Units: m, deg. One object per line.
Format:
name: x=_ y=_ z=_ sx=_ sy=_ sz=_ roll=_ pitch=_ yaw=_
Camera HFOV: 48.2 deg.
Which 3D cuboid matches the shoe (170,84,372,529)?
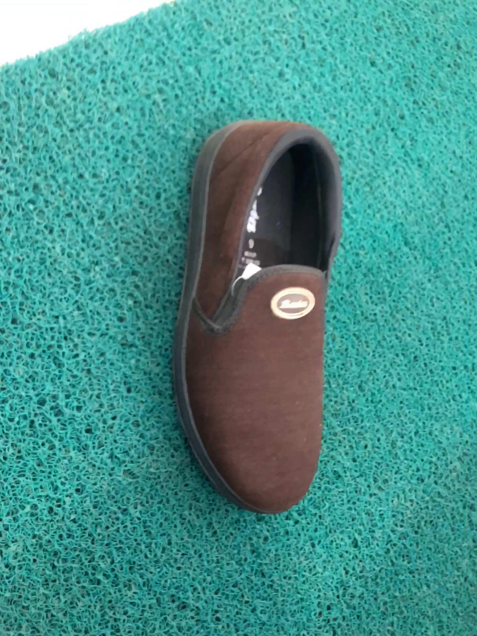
shoe: x=0.017 y=-0.005 z=0.376 sx=0.101 sy=0.099 sz=0.260 roll=3 pitch=83 yaw=-27
